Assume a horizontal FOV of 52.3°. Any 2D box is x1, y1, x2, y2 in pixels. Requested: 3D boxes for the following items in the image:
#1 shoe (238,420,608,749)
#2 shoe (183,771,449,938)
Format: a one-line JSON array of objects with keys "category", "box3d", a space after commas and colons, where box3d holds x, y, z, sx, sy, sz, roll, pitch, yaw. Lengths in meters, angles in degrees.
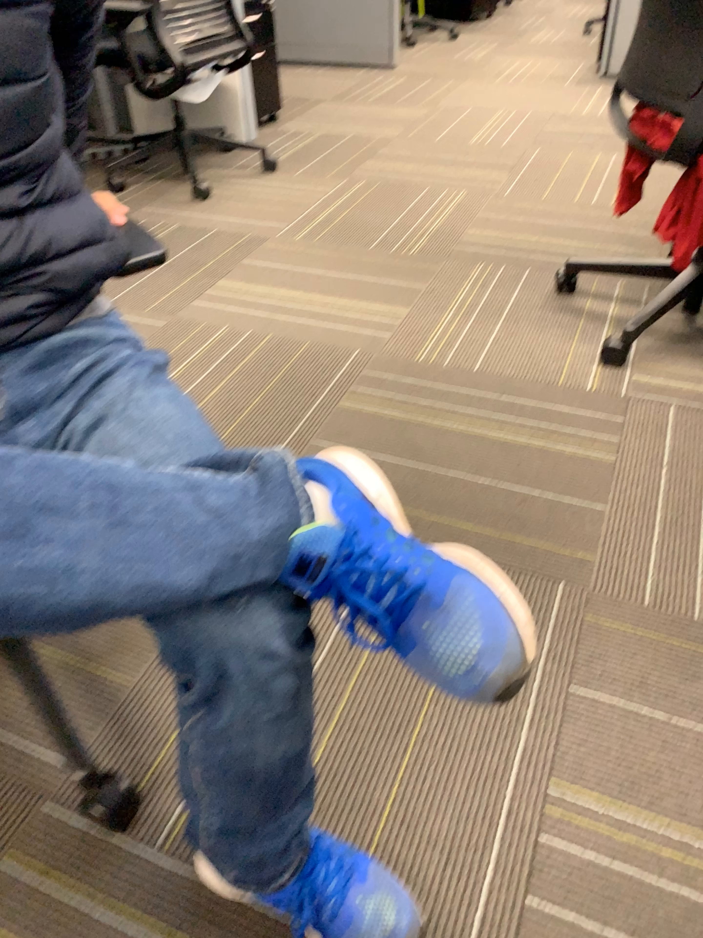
[{"category": "shoe", "box3d": [0.041, 0.071, 0.581, 0.103, 0.117, 0.276, -5, 30, -45]}, {"category": "shoe", "box3d": [-0.041, 0.471, 0.826, 0.284, 0.086, 0.101, 15, 42, 21]}]
